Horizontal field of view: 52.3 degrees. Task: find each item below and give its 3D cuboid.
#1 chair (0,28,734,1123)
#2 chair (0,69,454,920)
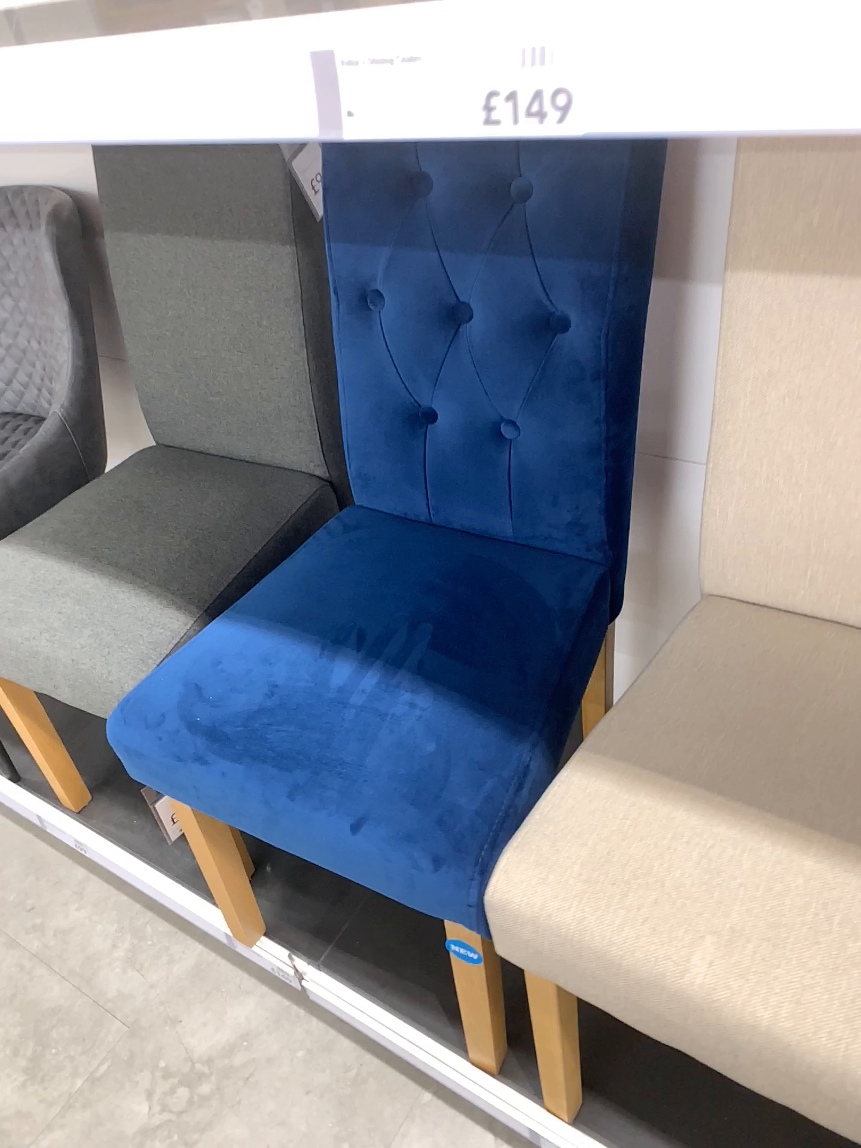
[{"bbox_3d":[-0.016,0.029,0.923,0.434,0.929,0.522,16,45,28],"label":"chair"},{"bbox_3d":[-0.340,-0.108,1.202,0.414,0.889,0.623,13,43,26],"label":"chair"}]
